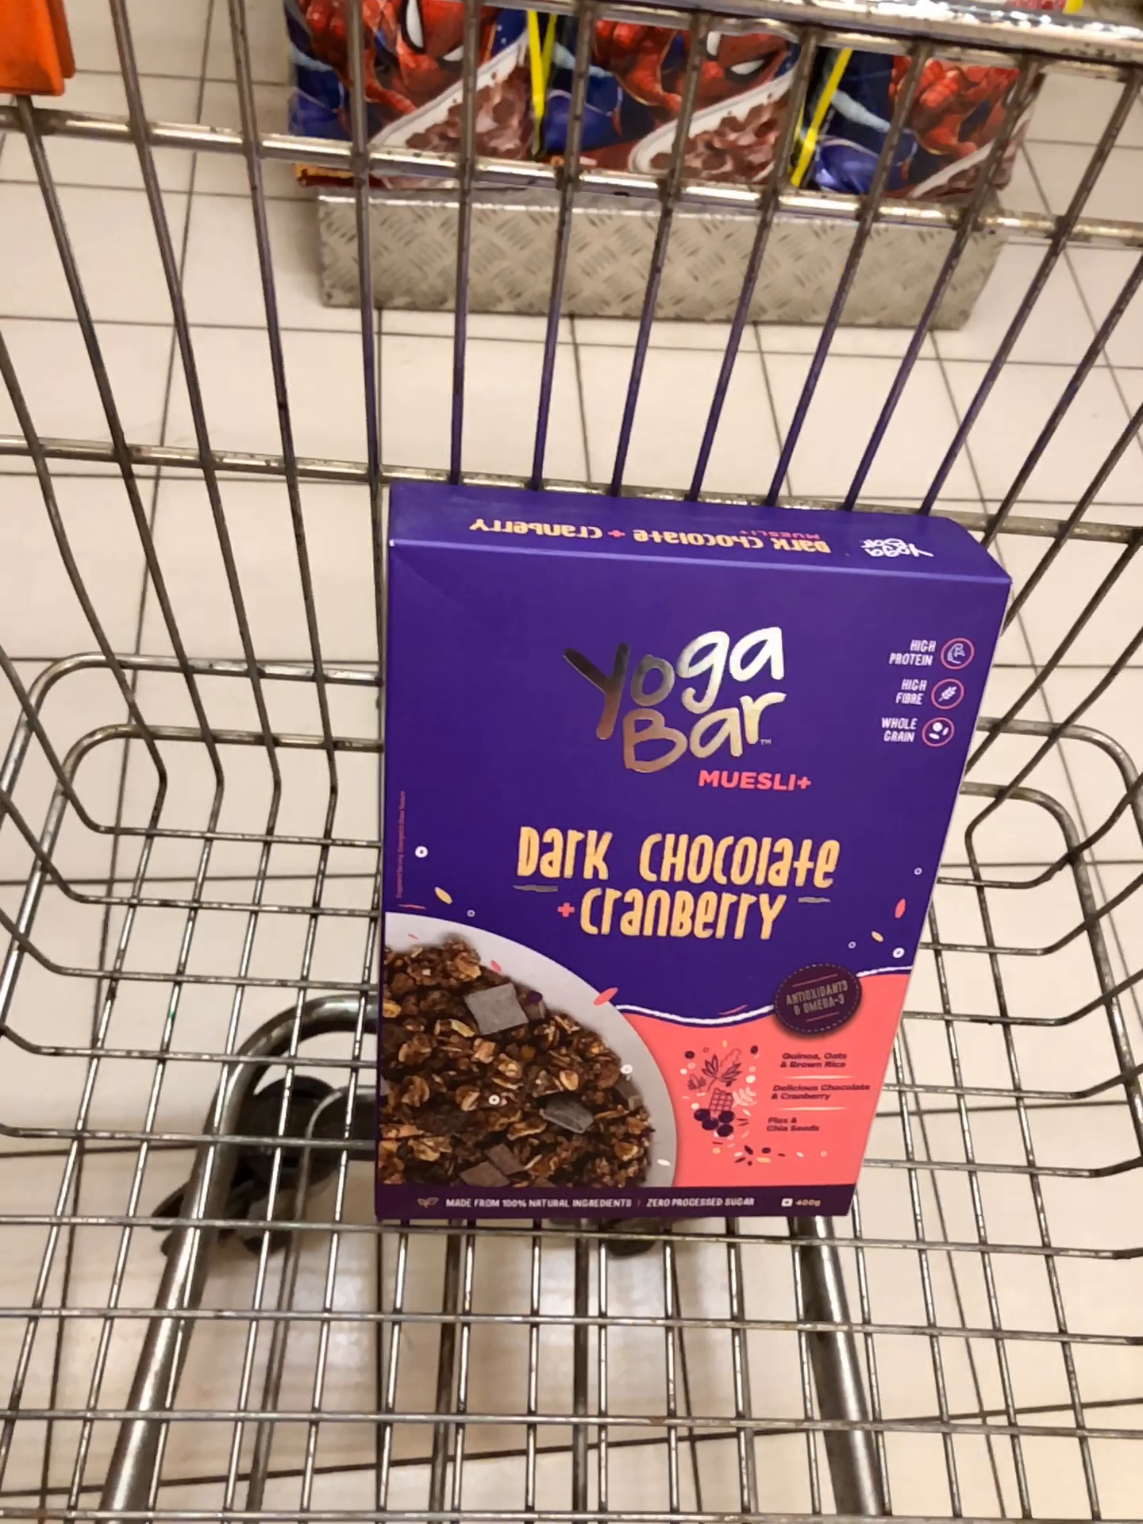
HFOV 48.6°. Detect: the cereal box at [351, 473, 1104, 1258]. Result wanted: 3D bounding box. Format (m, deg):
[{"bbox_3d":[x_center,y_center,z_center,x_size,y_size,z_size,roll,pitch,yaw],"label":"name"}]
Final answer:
[{"bbox_3d":[0.029,0.041,0.379,0.180,0.229,0.060,3,26,-7],"label":"cereal box"}]
